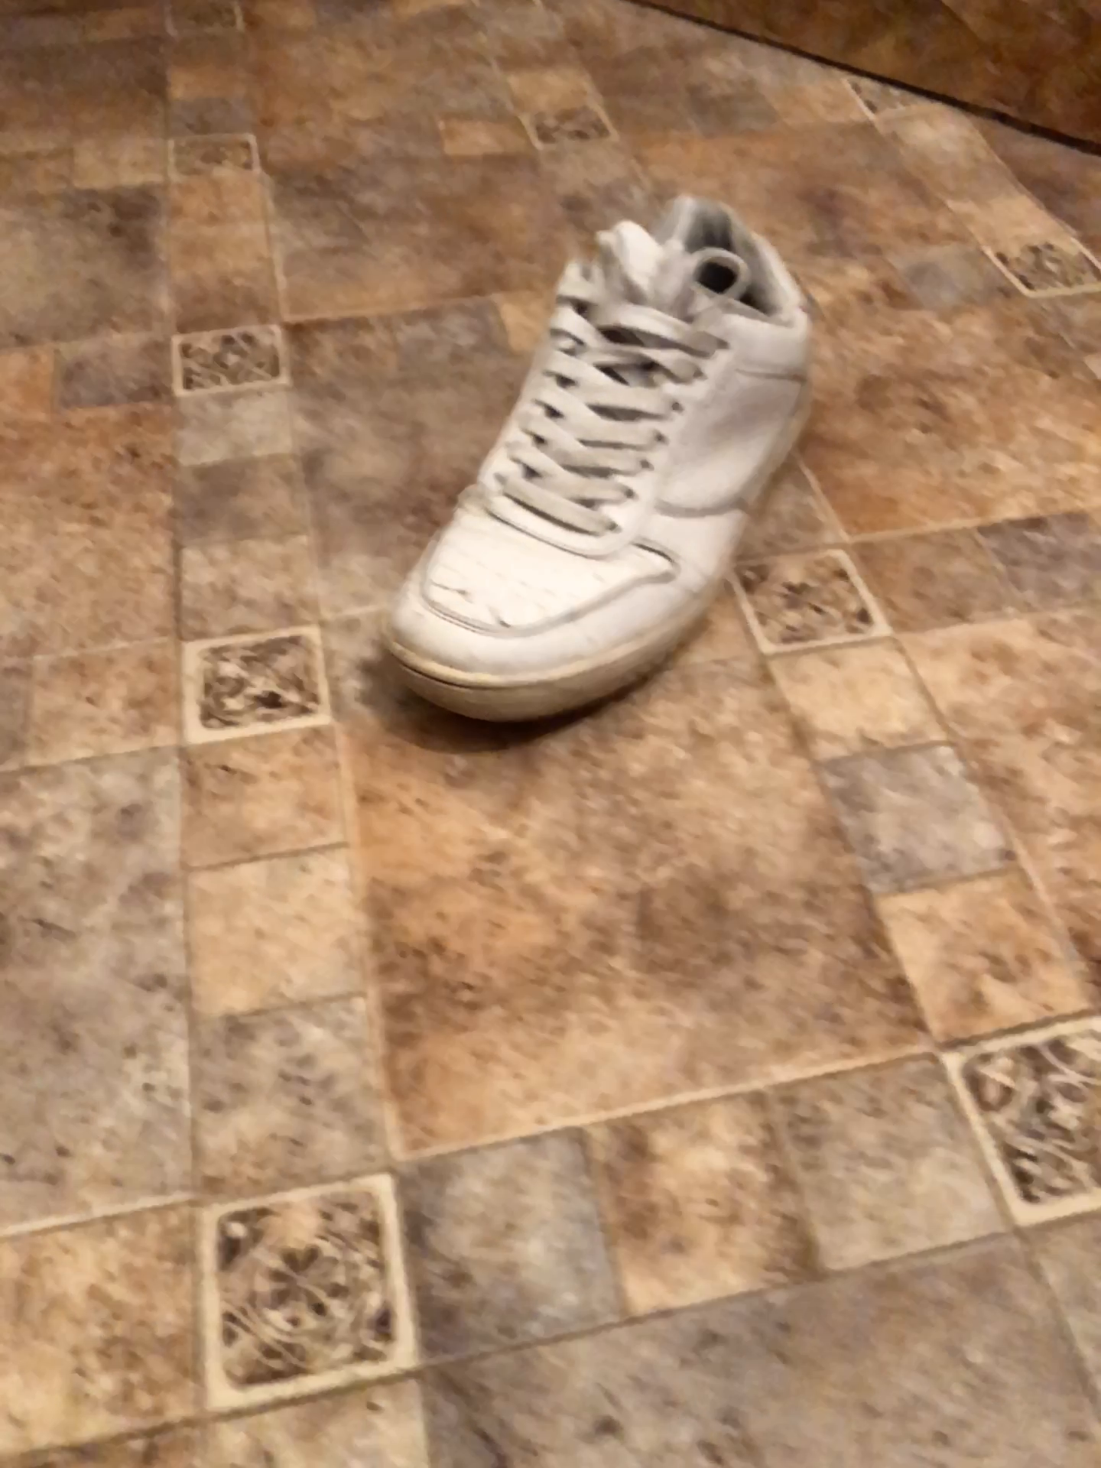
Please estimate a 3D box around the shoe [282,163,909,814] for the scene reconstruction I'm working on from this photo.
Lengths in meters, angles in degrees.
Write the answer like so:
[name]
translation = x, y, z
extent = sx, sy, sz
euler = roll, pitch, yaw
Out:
[shoe]
translation = 0.032, -0.121, 0.520
extent = 0.122, 0.109, 0.281
euler = 25, 54, 20
